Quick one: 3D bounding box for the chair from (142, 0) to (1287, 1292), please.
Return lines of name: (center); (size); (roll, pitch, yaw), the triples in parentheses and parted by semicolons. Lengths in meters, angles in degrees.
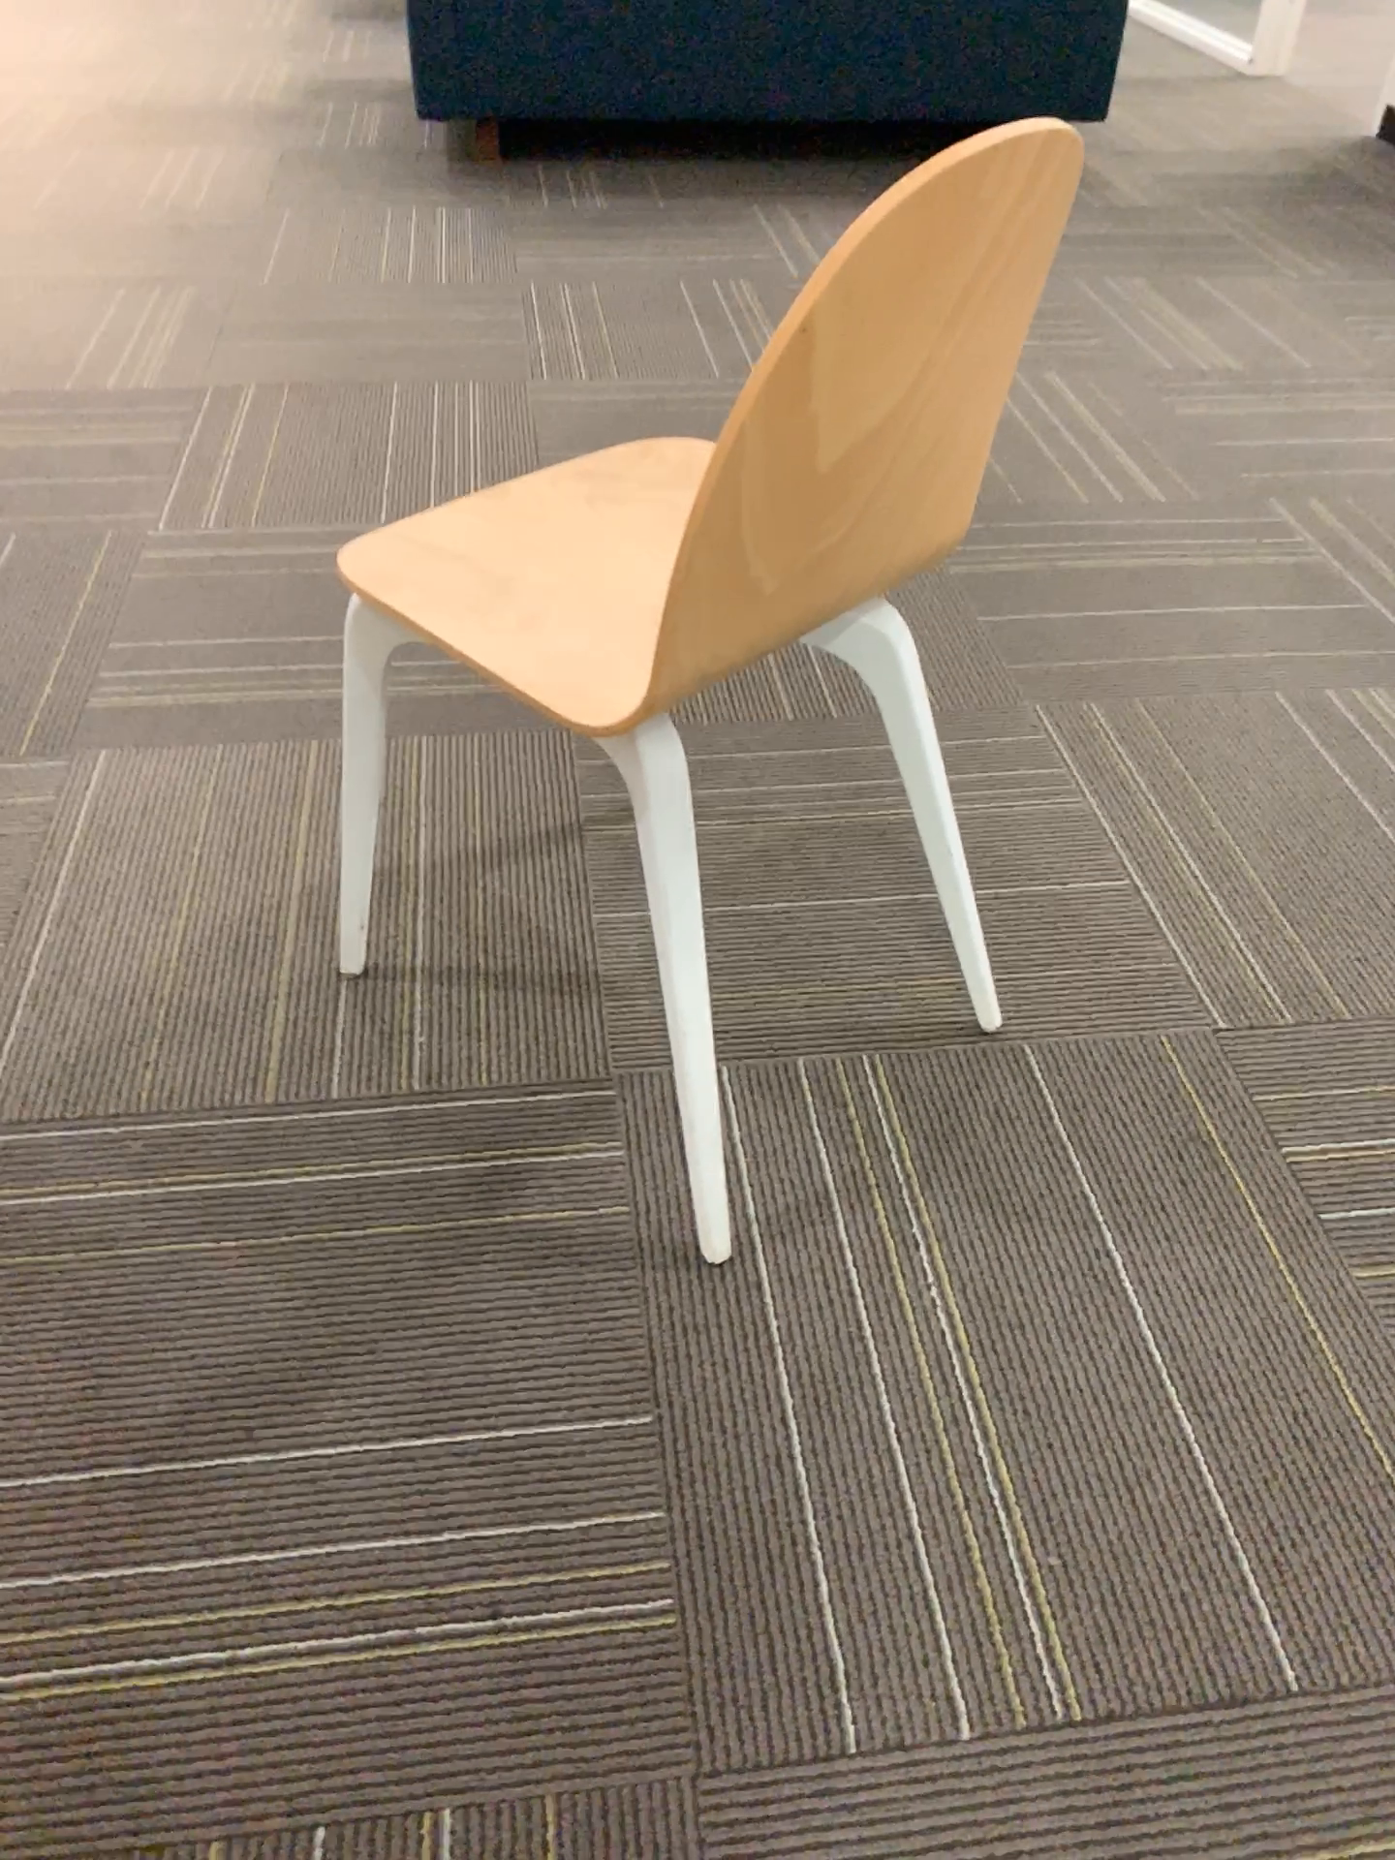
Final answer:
chair: (-0.003, -0.251, 1.171); (0.542, 0.795, 0.501); (34, 50, 31)
